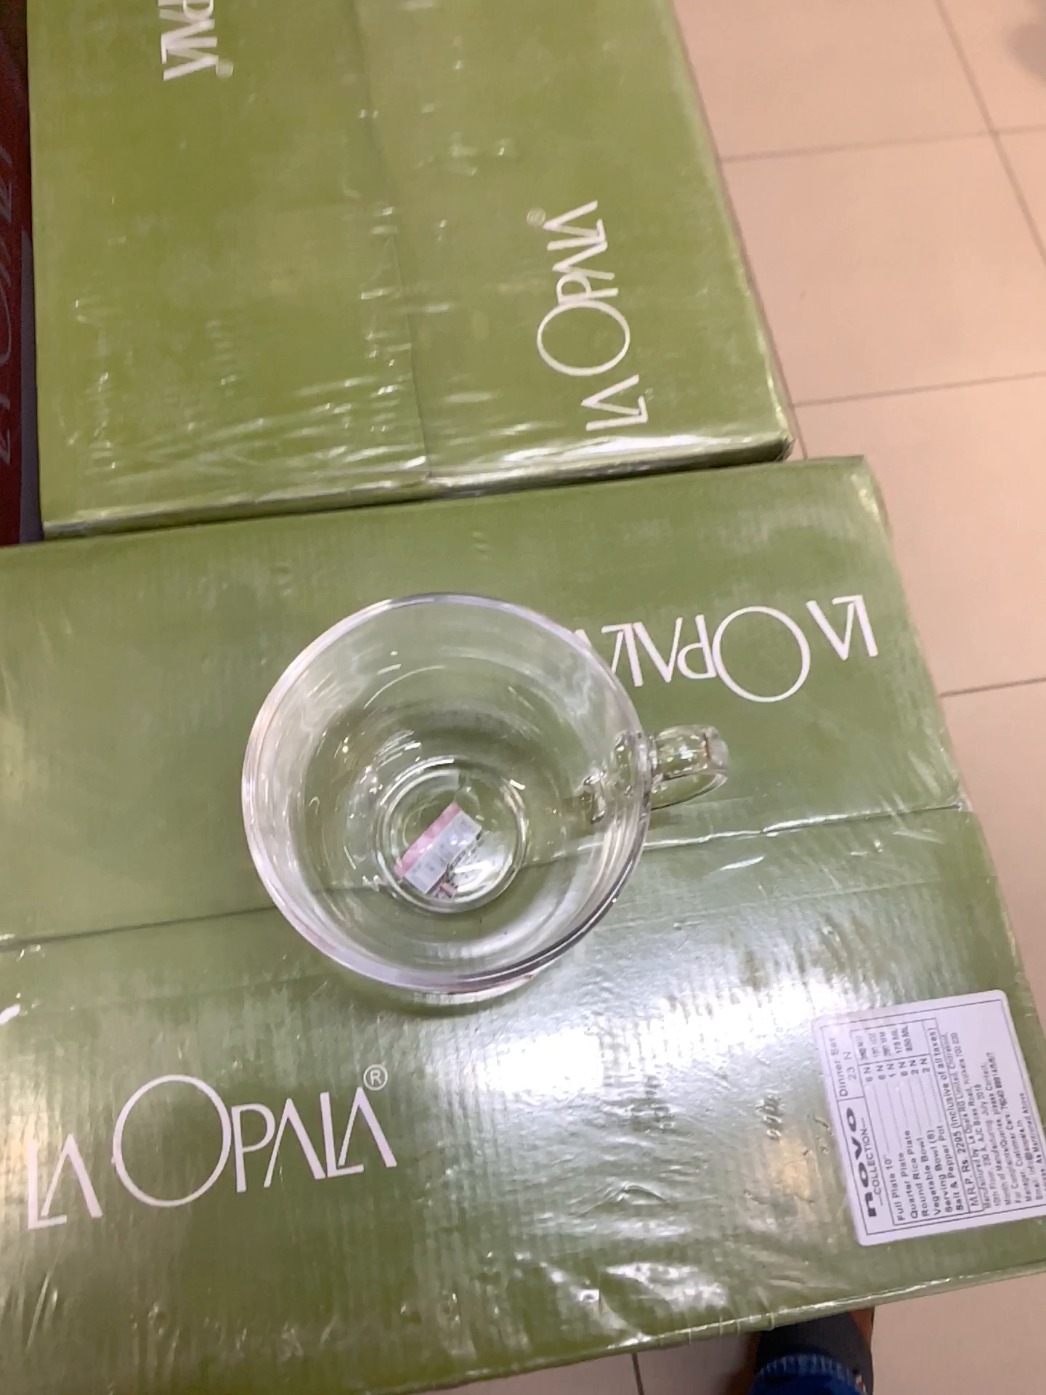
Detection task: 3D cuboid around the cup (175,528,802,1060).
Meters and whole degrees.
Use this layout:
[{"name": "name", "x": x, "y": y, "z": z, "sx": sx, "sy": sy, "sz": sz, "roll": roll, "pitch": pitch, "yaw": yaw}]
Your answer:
[{"name": "cup", "x": -0.014, "y": 0.033, "z": 0.318, "sx": 0.140, "sy": 0.090, "sz": 0.110, "roll": -12, "pitch": 71, "yaw": -6}]
